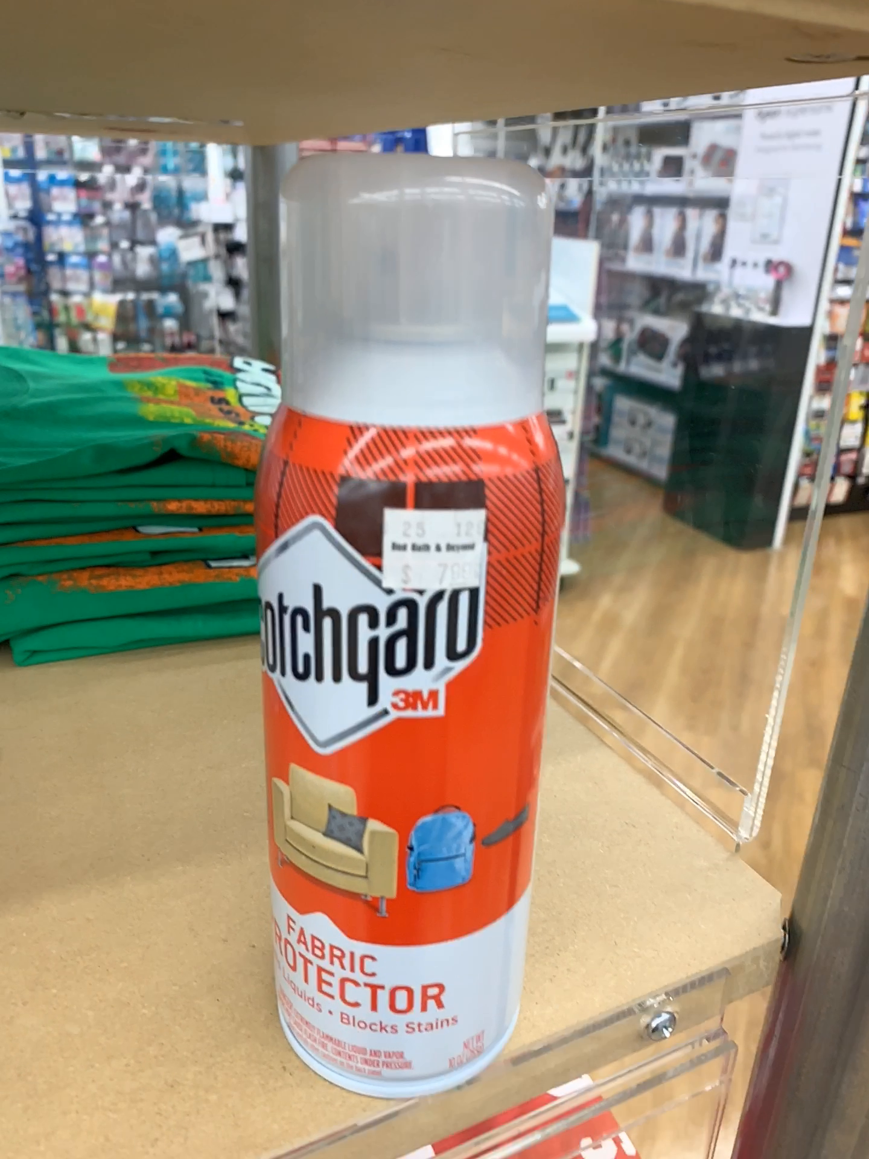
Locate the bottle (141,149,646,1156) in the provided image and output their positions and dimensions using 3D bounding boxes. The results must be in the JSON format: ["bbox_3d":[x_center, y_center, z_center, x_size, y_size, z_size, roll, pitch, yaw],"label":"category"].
[{"bbox_3d":[-0.008,0.017,0.207,0.069,0.206,0.067,2,23,-1],"label":"bottle"}]
